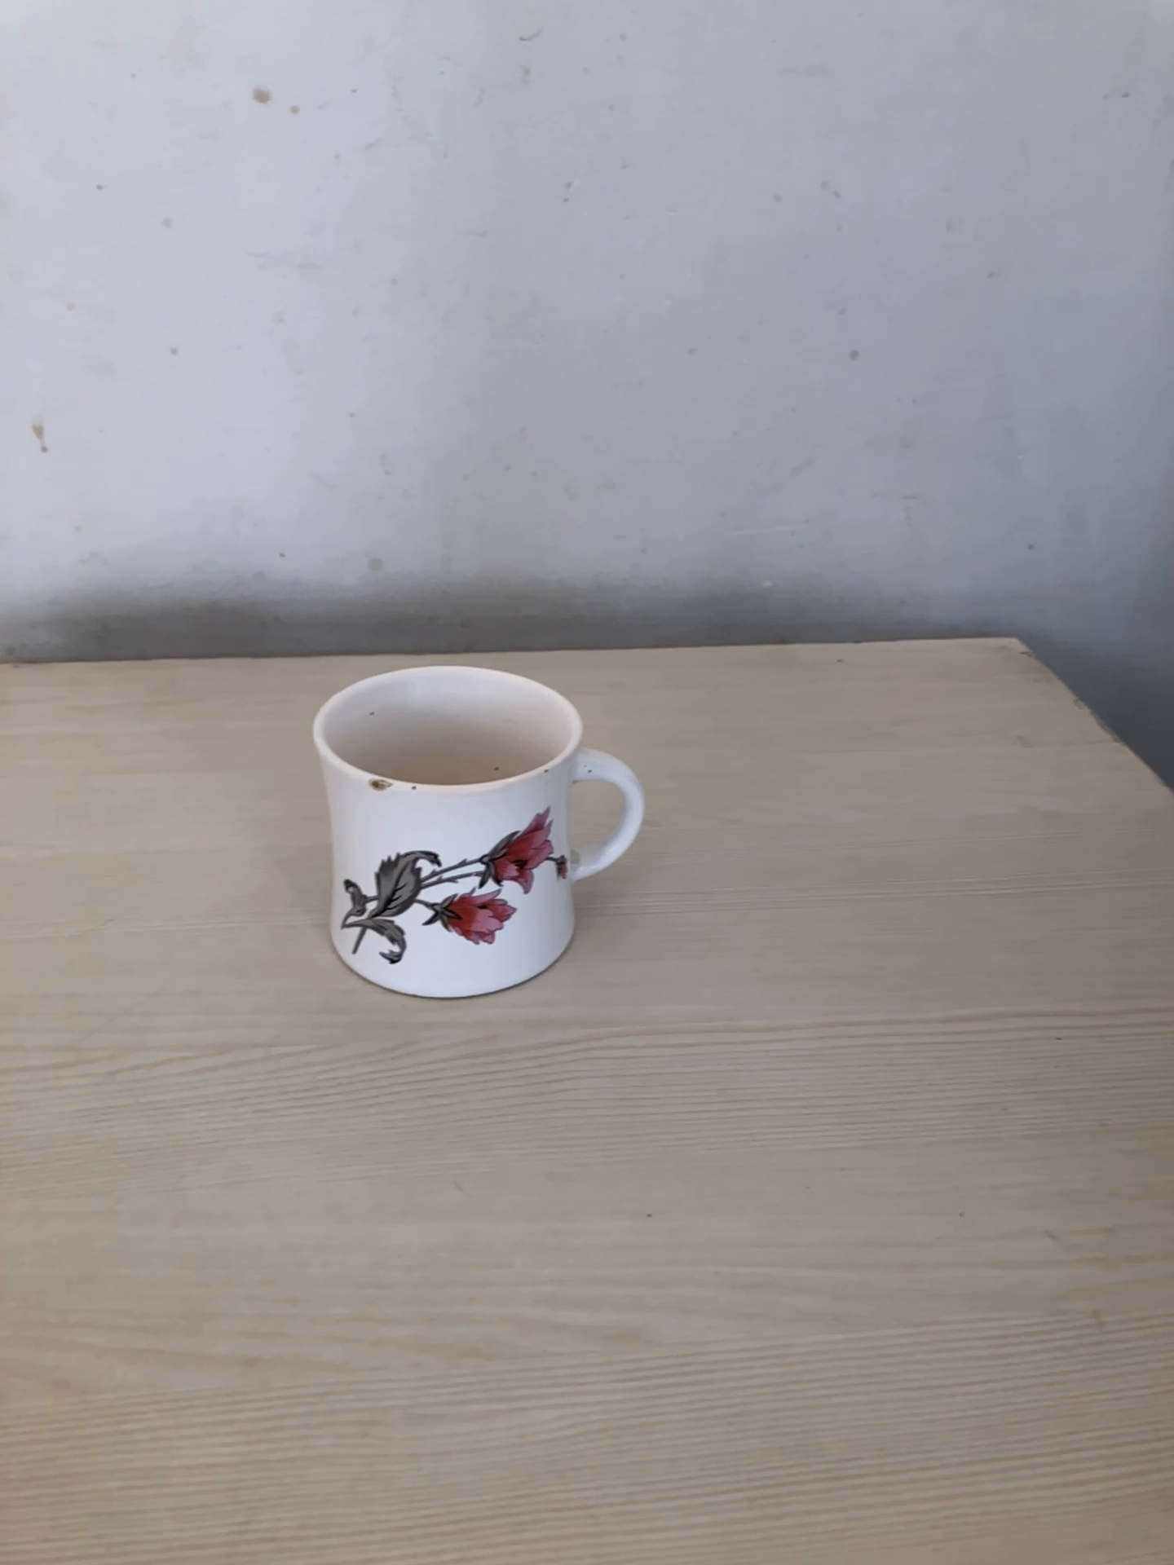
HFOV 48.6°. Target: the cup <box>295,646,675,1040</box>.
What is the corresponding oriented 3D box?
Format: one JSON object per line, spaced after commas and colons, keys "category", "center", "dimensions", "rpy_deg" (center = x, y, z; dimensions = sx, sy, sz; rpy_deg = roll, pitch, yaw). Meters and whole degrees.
{"category": "cup", "center": [-0.031, 0.013, 0.358], "dimensions": [0.090, 0.070, 0.080], "rpy_deg": [-4, 29, -10]}
